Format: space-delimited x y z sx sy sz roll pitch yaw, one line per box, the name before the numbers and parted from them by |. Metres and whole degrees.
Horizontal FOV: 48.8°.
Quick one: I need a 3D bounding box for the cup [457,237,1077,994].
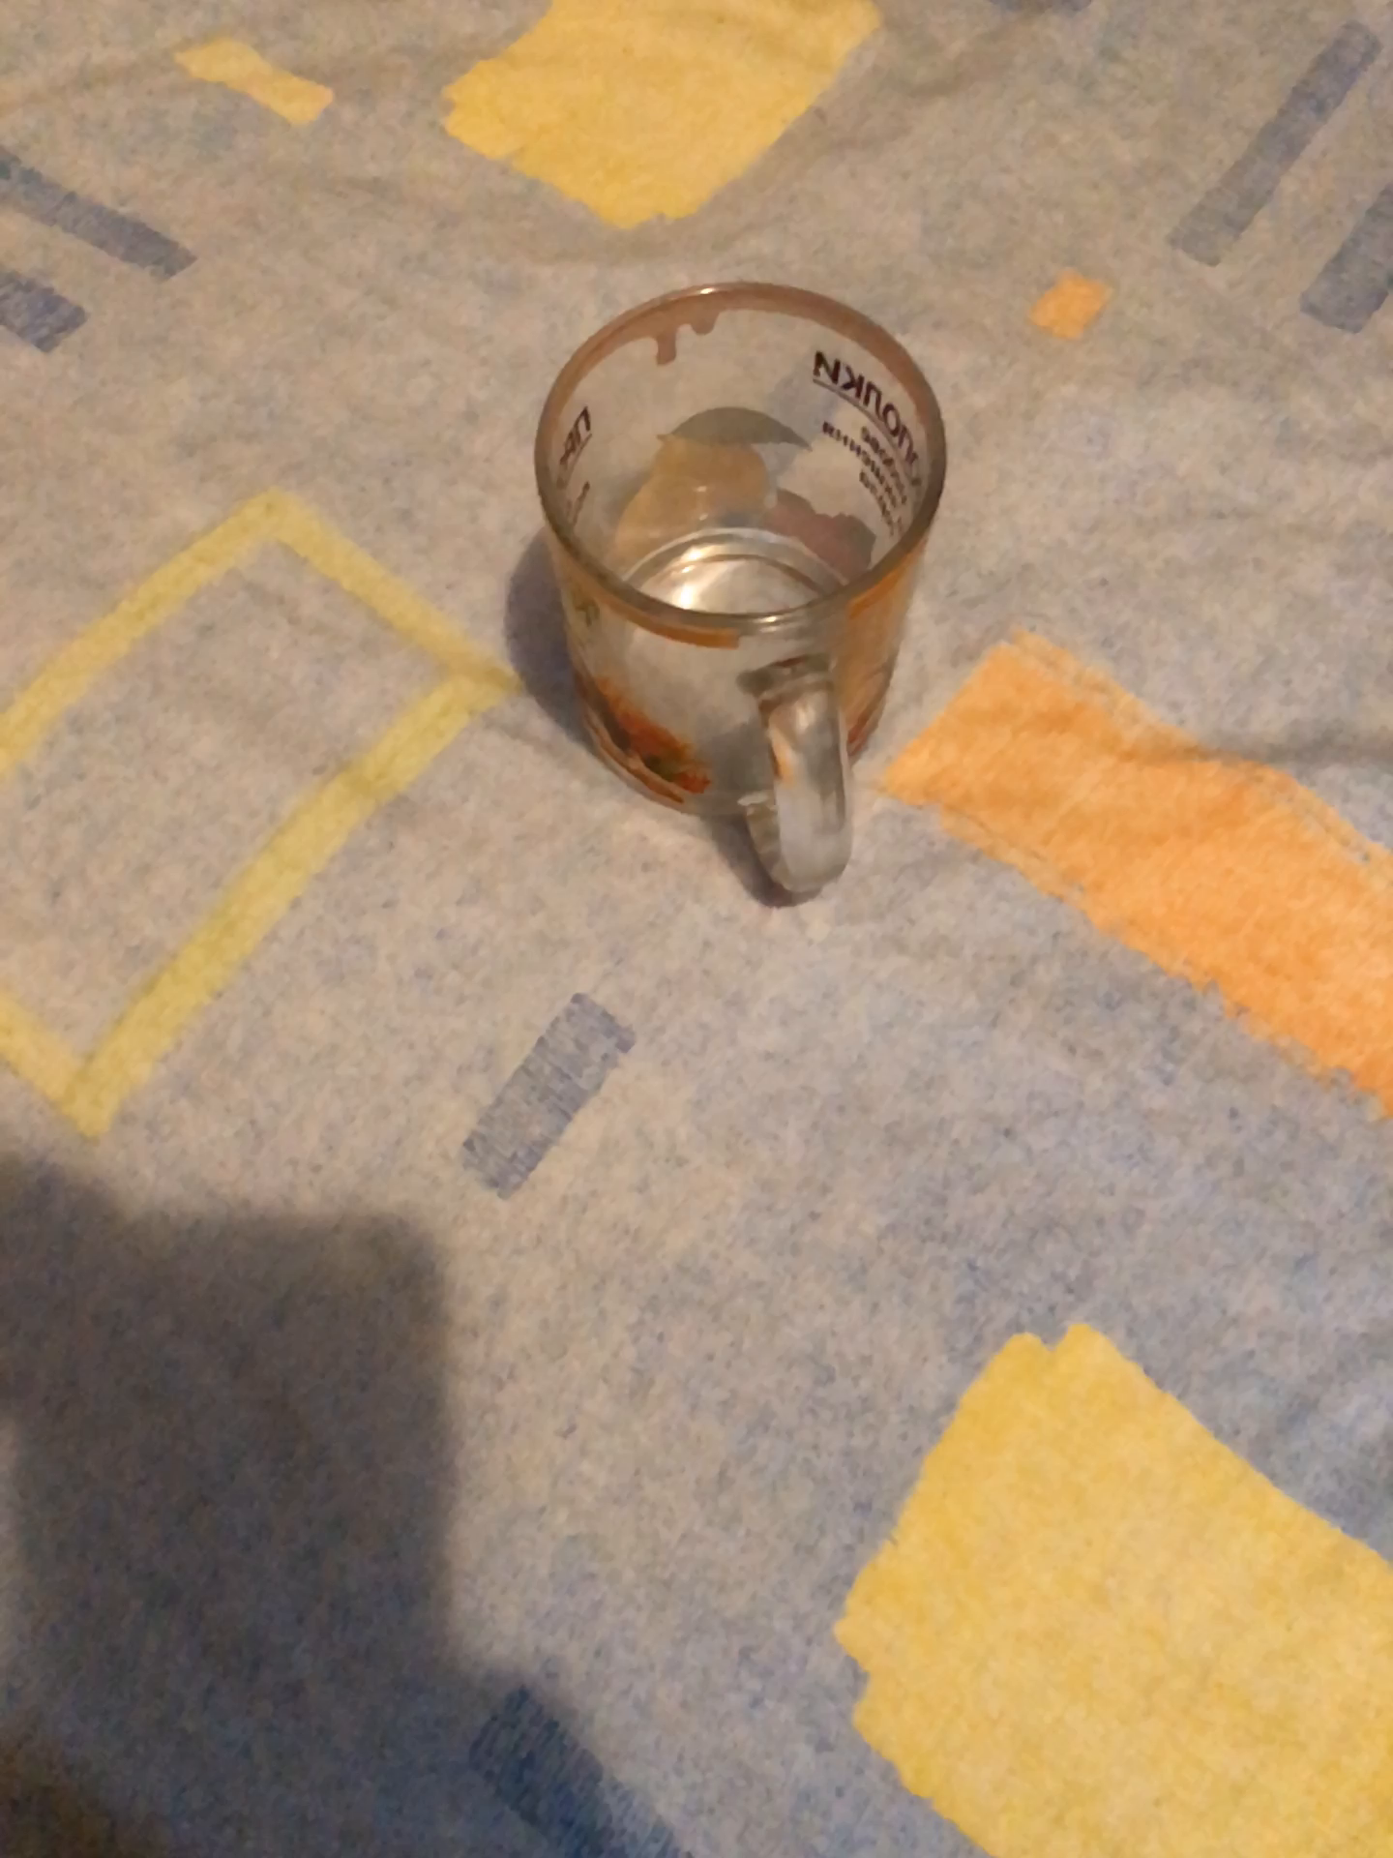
cup | 0.011 -0.063 0.333 0.084 0.092 0.110 -18 71 -6
